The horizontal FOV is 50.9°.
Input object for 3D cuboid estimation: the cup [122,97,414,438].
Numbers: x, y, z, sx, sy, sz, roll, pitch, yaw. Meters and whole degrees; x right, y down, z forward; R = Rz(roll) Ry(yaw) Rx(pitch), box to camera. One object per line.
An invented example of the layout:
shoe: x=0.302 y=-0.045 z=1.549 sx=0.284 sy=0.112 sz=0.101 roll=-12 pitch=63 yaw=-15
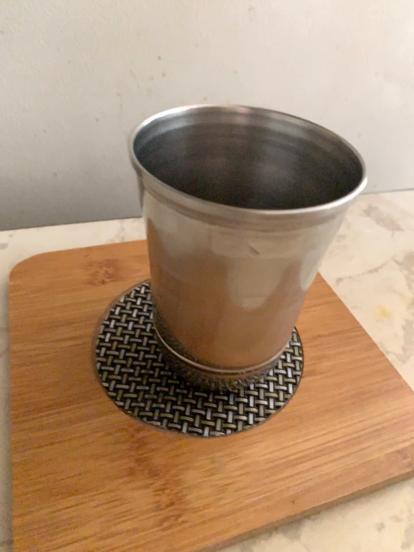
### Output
cup: x=0.013 y=-0.005 z=0.159 sx=0.072 sy=0.091 sz=0.071 roll=3 pitch=41 yaw=-3
